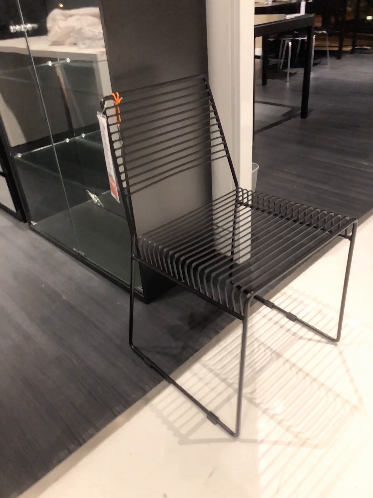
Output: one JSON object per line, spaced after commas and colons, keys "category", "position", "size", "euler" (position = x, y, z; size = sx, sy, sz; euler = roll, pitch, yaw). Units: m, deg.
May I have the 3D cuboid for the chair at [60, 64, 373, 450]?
{"category": "chair", "position": [0.100, -0.027, 1.105], "size": [0.522, 0.764, 0.502], "euler": [-29, 39, -33]}
